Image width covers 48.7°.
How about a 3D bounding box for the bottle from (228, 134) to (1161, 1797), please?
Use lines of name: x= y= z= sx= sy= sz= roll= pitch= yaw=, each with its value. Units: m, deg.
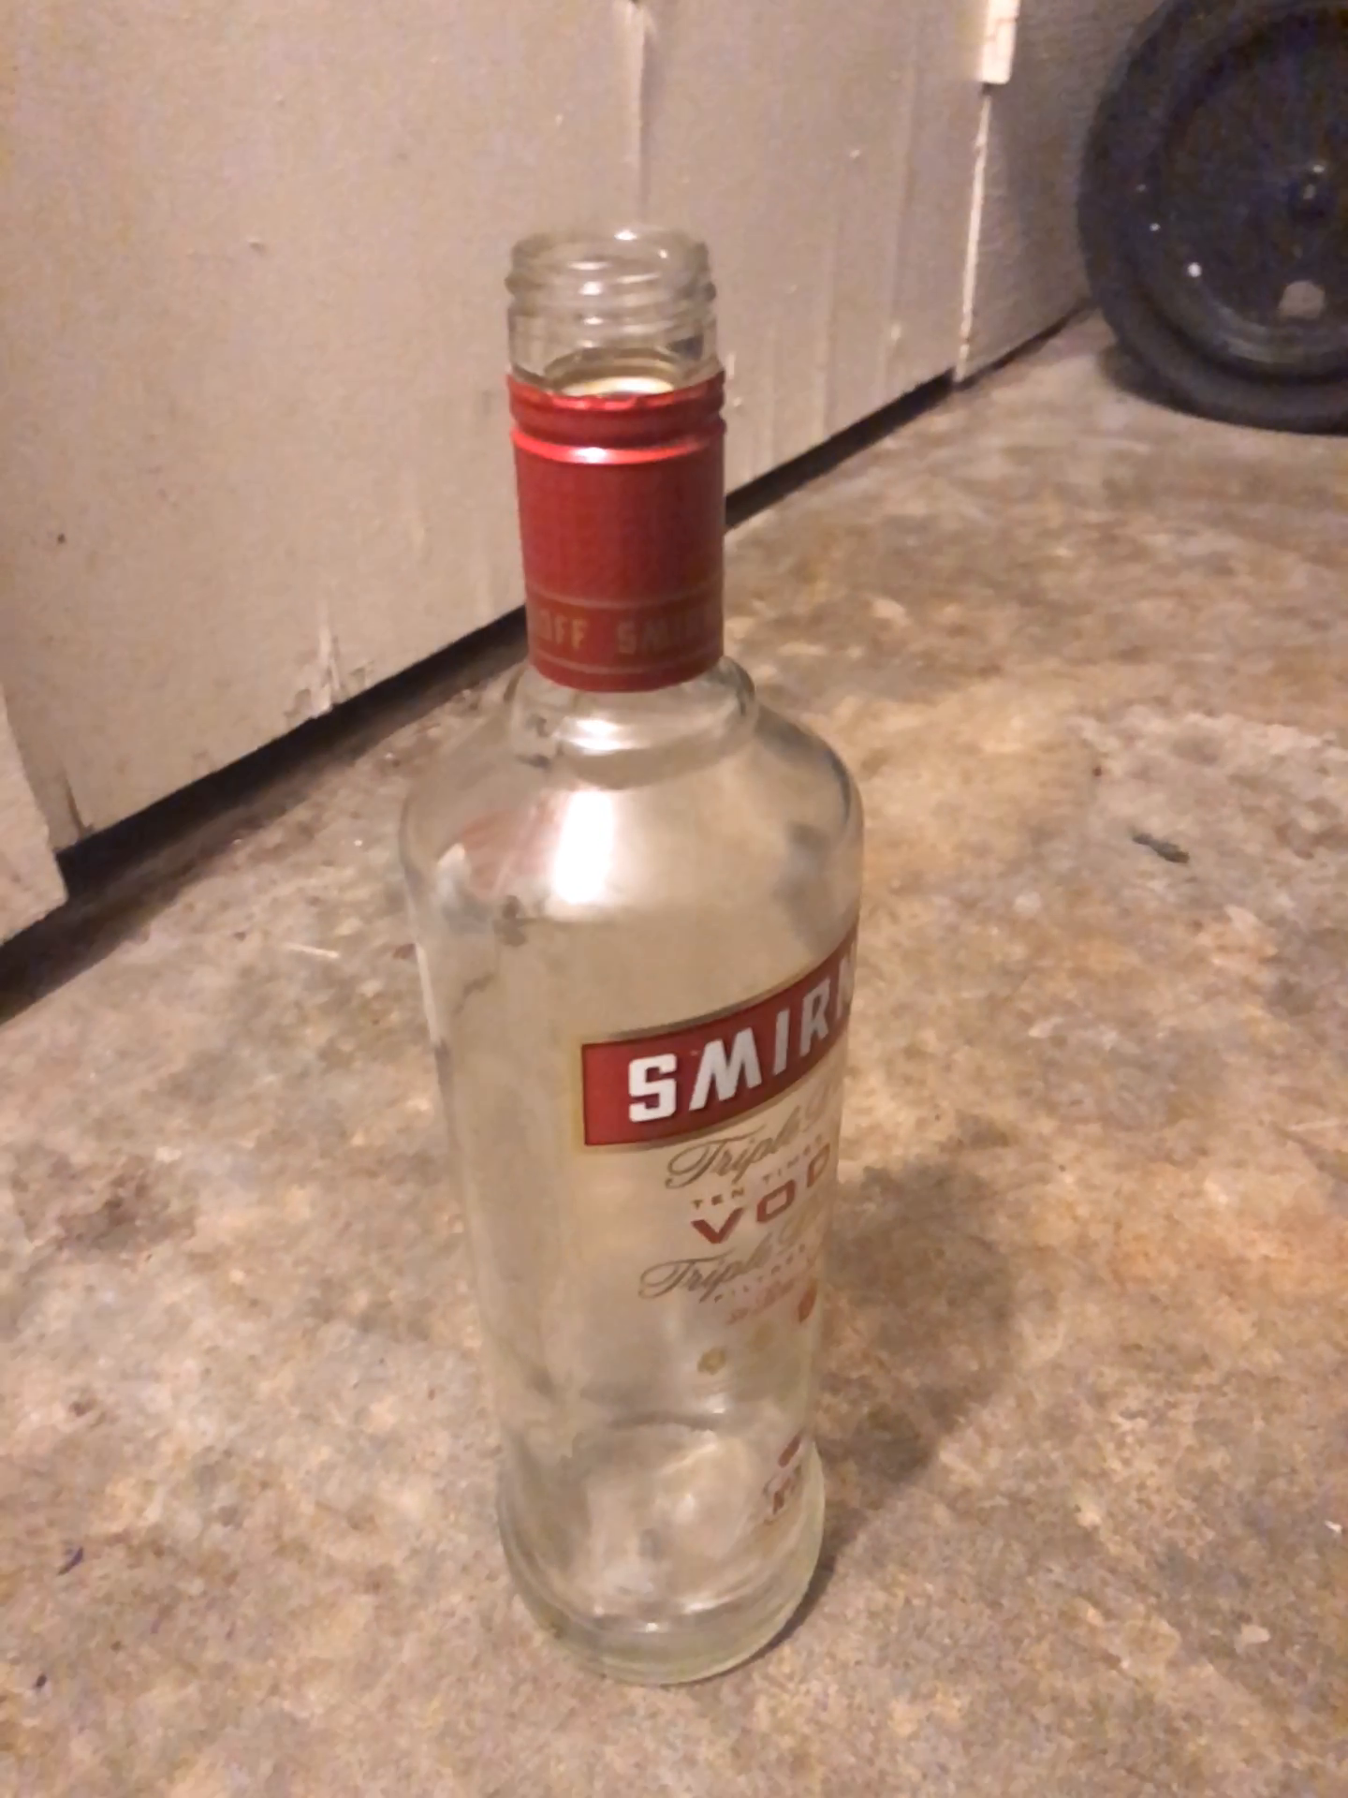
bottle: x=0.003 y=0.034 z=0.264 sx=0.080 sy=0.288 sz=0.080 roll=0 pitch=36 yaw=0
